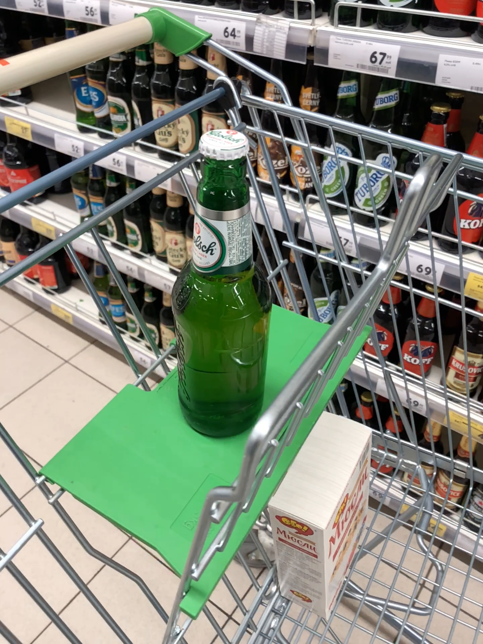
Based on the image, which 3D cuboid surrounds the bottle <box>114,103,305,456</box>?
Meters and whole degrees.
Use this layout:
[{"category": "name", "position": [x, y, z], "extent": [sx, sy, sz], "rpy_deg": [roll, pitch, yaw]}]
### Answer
[{"category": "bottle", "position": [-0.019, -0.020, 0.368], "extent": [0.080, 0.219, 0.080], "rpy_deg": [-1, 40, 1]}]
